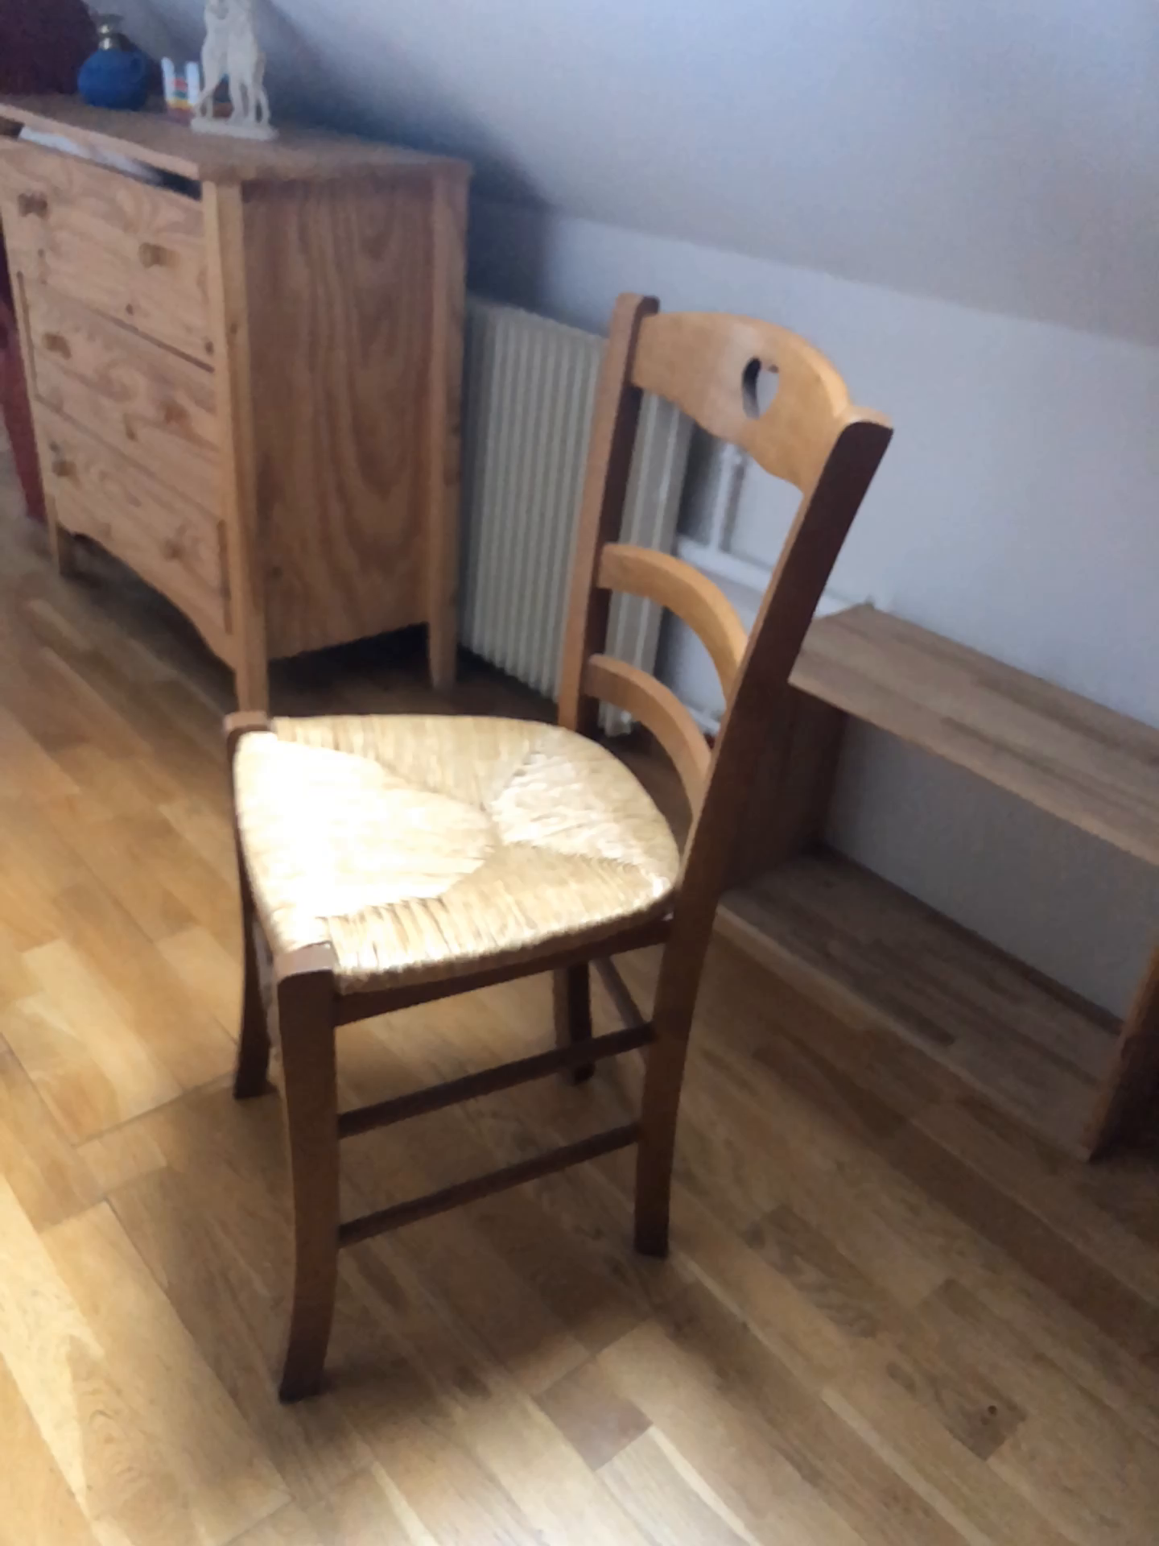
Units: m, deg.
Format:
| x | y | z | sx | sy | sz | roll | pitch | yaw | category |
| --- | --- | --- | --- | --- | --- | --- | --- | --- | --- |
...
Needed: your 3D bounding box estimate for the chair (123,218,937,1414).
| x | y | z | sx | sy | sz | roll | pitch | yaw | category |
| --- | --- | --- | --- | --- | --- | --- | --- | --- | --- |
| -0.109 | 0.019 | 1.054 | 0.434 | 0.792 | 0.460 | -5 | 31 | -20 | chair |
